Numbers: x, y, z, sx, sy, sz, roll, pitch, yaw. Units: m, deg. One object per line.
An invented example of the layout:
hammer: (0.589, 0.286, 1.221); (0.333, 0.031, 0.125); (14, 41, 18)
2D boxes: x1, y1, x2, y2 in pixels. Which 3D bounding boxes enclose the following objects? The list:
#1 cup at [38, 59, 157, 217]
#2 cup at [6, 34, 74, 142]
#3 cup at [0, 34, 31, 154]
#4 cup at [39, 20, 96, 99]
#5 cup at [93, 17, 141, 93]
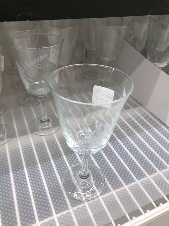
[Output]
cup: (0.004, 0.030, 0.229); (0.089, 0.156, 0.087); (1, 35, -1)
cup: (-0.074, -0.044, 0.333); (0.087, 0.155, 0.090); (1, 35, -1)
cup: (-0.147, -0.031, 0.291); (0.079, 0.146, 0.087); (1, 35, -1)
cup: (-0.038, -0.116, 0.407); (0.089, 0.136, 0.087); (1, 35, -1)
cup: (0.058, -0.119, 0.388); (0.069, 0.126, 0.087); (2, 35, -1)
